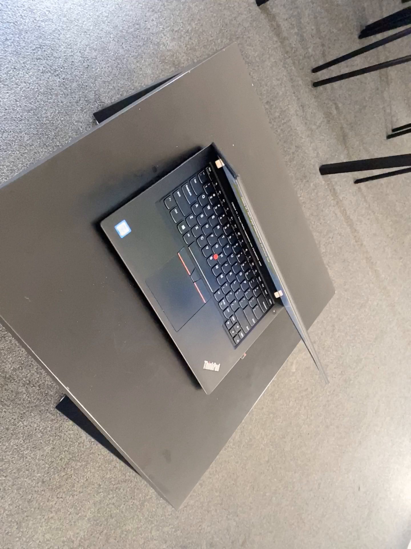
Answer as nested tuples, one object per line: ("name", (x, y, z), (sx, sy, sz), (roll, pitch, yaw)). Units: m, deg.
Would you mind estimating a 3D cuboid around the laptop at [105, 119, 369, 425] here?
("laptop", (0.066, -0.001, 0.610), (0.224, 0.165, 0.333), (-43, 120, -28))
